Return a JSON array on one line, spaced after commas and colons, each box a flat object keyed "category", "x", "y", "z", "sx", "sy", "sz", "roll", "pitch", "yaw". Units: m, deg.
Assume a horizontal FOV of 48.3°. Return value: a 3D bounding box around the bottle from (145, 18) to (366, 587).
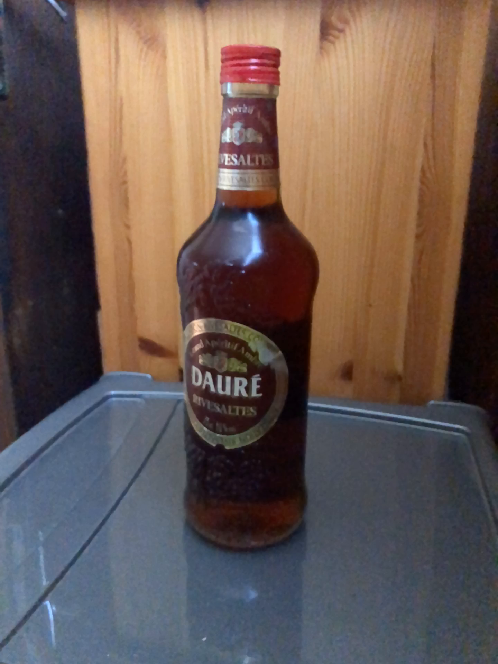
[{"category": "bottle", "x": 0.007, "y": -0.010, "z": 0.334, "sx": 0.090, "sy": 0.299, "sz": 0.091, "roll": 1, "pitch": 19, "yaw": 0}]
